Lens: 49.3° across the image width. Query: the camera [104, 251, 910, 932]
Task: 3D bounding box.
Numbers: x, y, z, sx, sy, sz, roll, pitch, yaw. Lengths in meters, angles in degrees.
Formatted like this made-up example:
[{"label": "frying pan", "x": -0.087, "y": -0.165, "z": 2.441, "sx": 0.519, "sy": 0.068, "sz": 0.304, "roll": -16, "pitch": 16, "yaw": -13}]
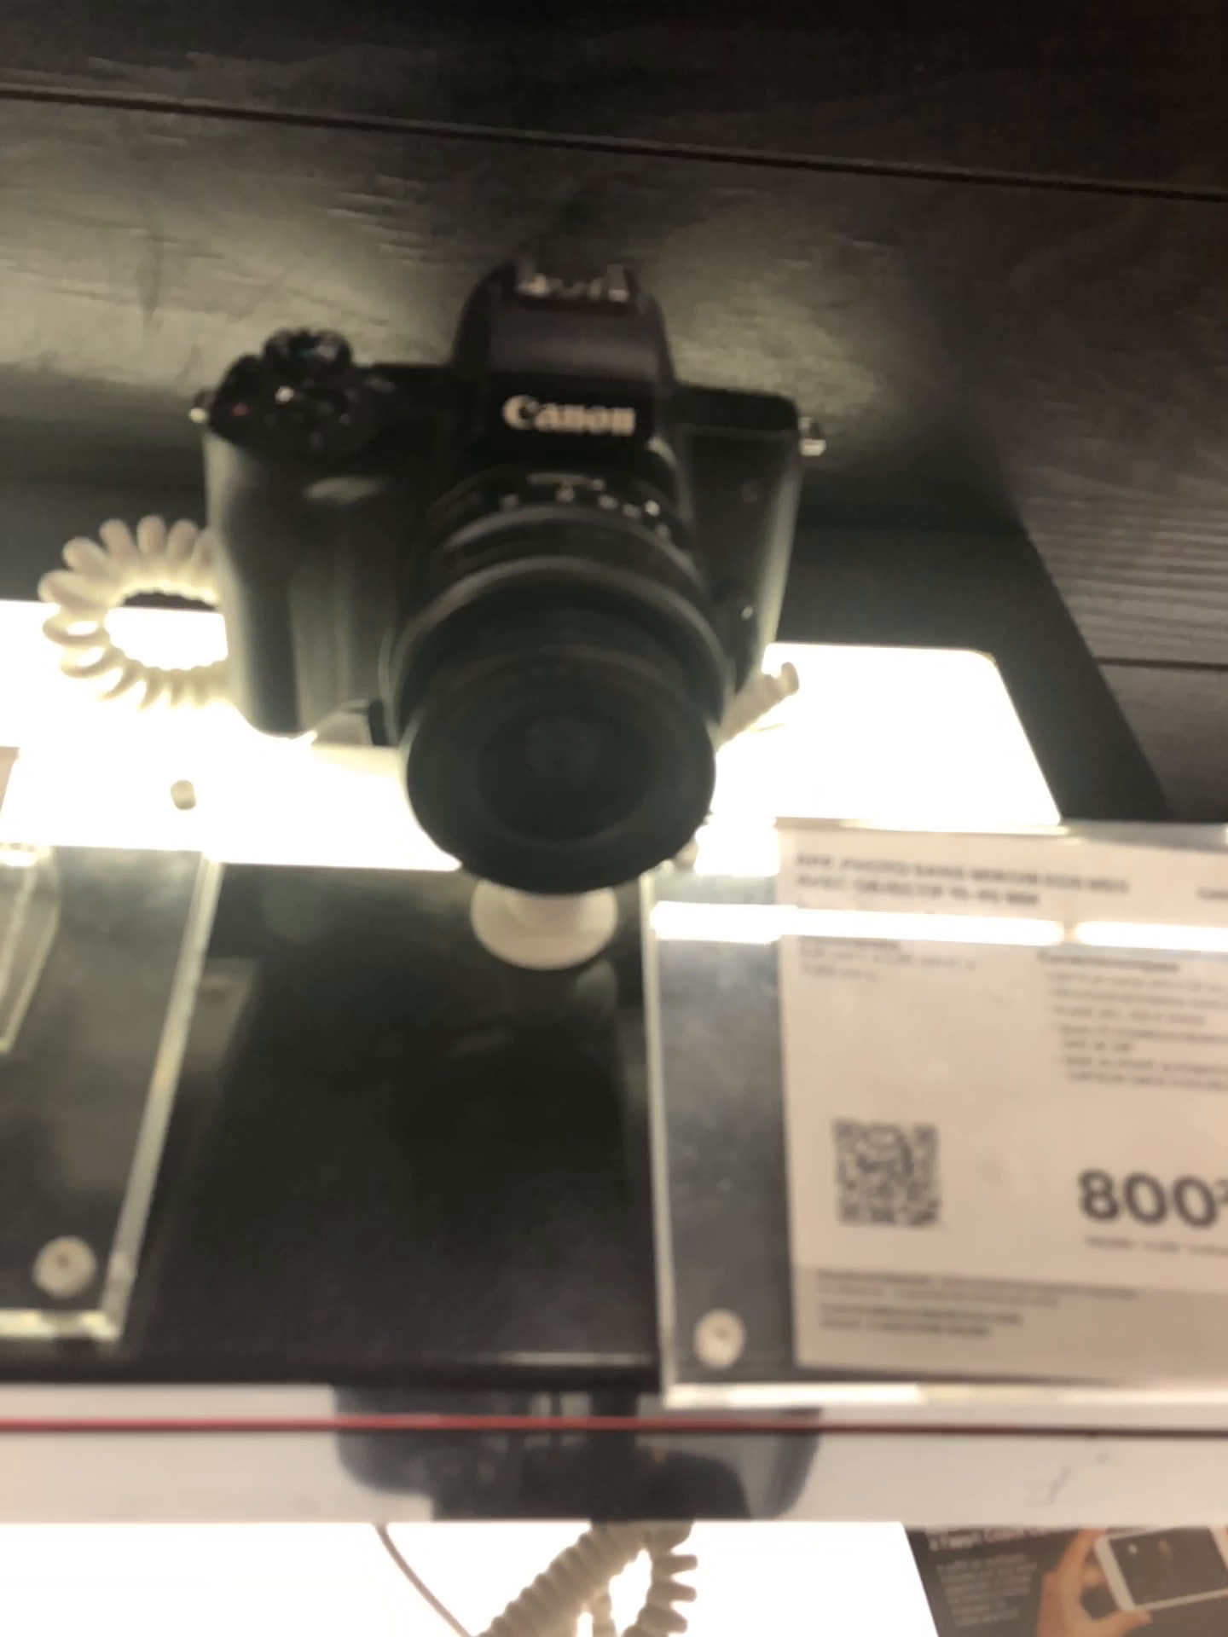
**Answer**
[{"label": "camera", "x": -0.020, "y": -0.047, "z": 0.264, "sx": 0.119, "sy": 0.089, "sz": 0.101, "roll": 3, "pitch": 37, "yaw": -4}]
